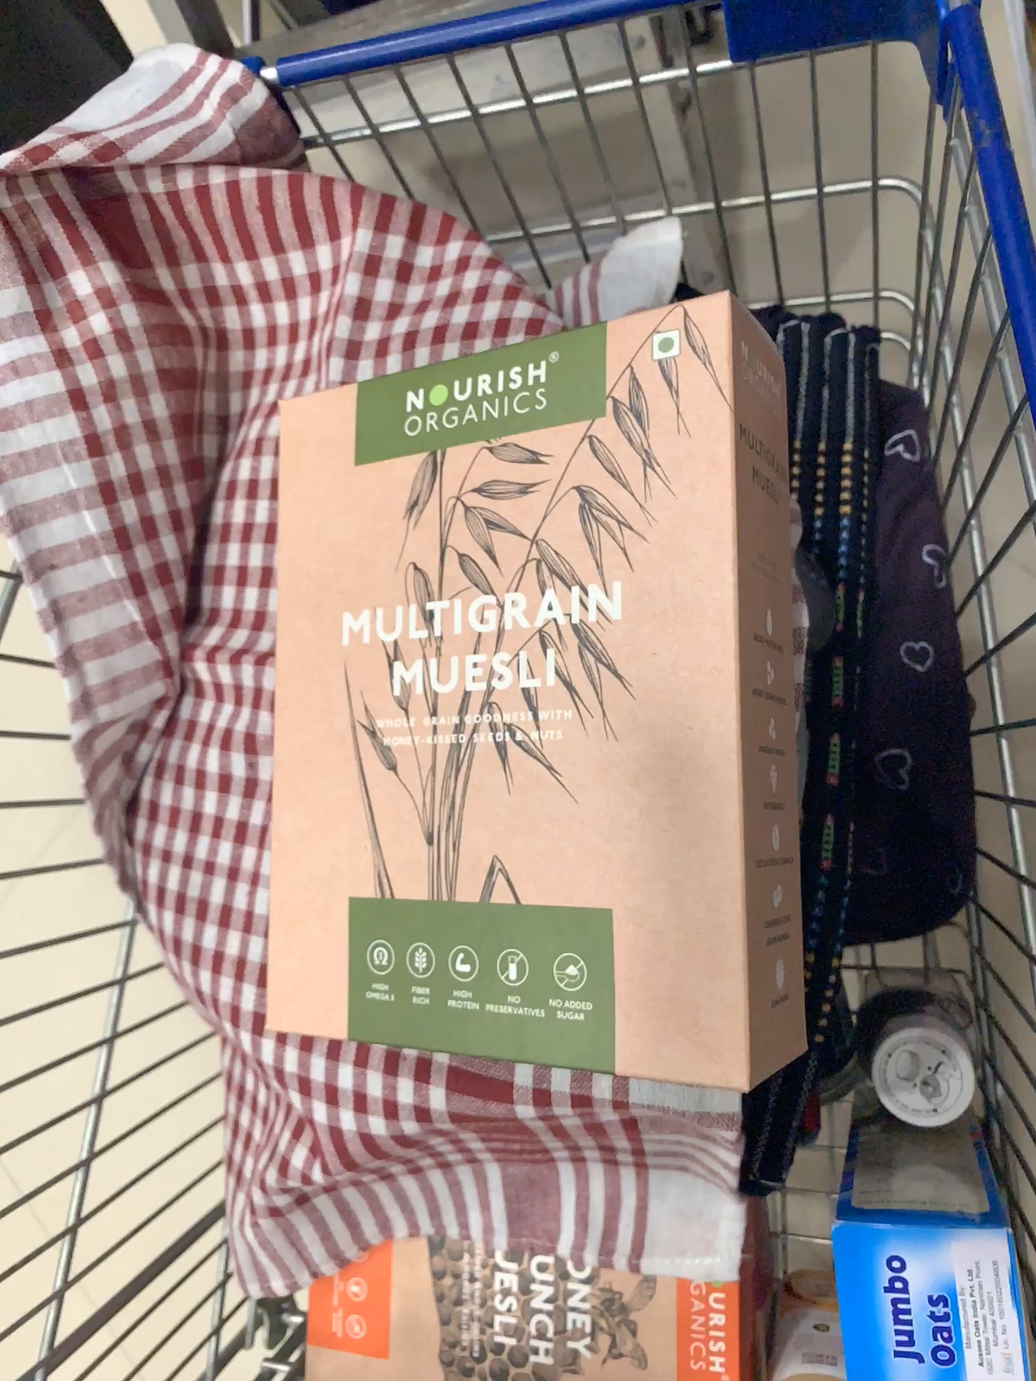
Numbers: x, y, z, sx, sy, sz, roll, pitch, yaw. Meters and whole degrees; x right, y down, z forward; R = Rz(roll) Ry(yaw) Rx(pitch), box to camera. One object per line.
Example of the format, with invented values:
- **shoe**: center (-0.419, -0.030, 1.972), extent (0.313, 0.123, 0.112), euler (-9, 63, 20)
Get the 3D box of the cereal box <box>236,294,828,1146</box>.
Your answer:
- **cereal box**: center (-0.001, 0.010, 0.310), extent (0.160, 0.050, 0.200), euler (-4, 83, 28)
